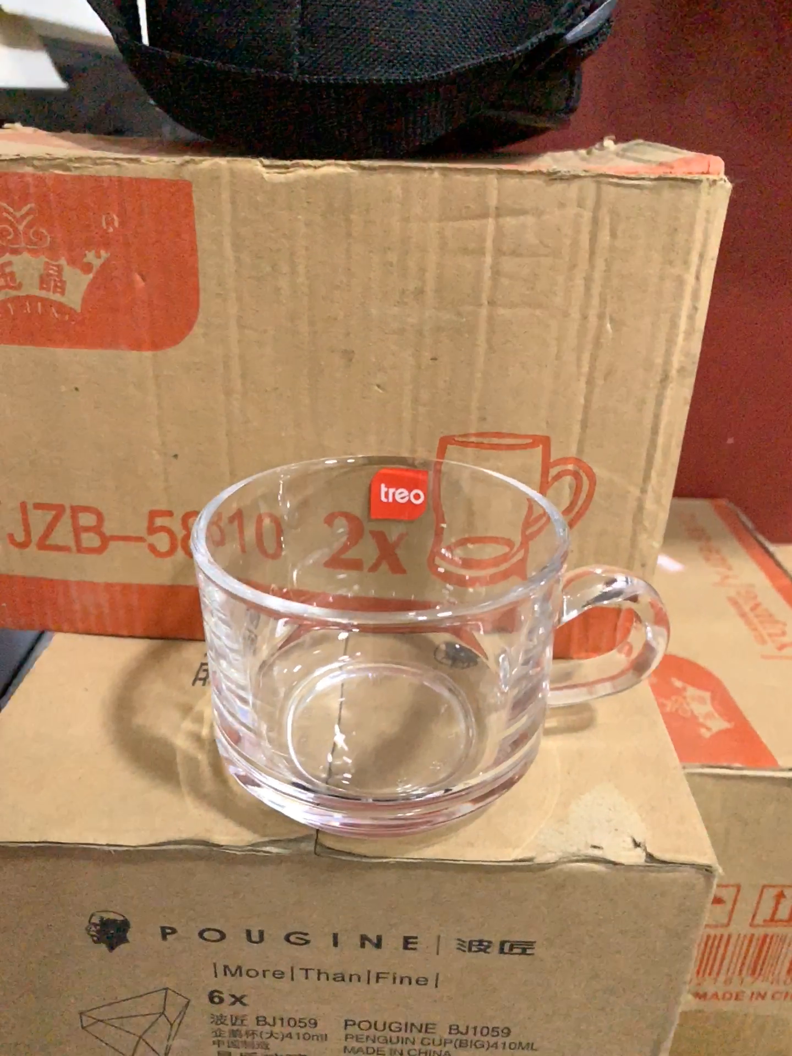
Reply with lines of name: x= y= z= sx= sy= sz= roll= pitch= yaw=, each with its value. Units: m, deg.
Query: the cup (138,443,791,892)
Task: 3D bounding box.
cup: x=0.010 y=0.025 z=0.178 sx=0.104 sy=0.061 sz=0.072 roll=2 pitch=26 yaw=-1
